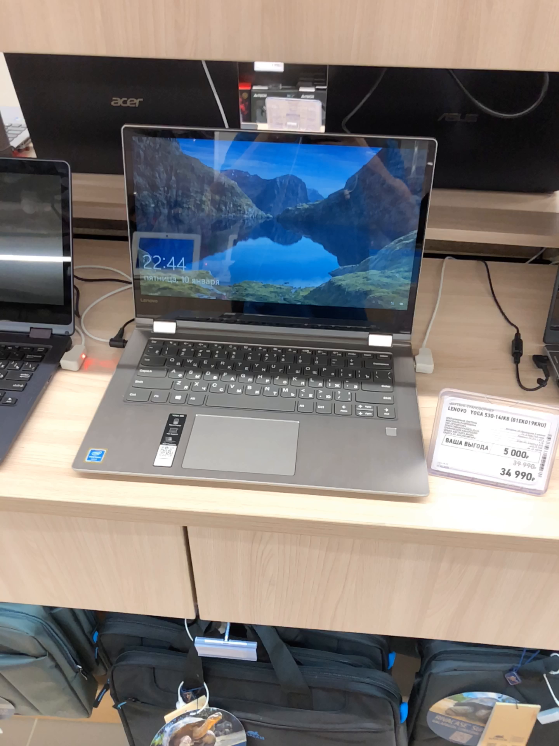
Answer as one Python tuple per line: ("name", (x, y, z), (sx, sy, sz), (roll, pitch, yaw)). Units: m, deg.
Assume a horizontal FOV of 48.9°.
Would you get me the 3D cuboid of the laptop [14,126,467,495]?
("laptop", (-0.025, -0.076, 0.594), (0.311, 0.205, 0.288), (4, 39, 1))
